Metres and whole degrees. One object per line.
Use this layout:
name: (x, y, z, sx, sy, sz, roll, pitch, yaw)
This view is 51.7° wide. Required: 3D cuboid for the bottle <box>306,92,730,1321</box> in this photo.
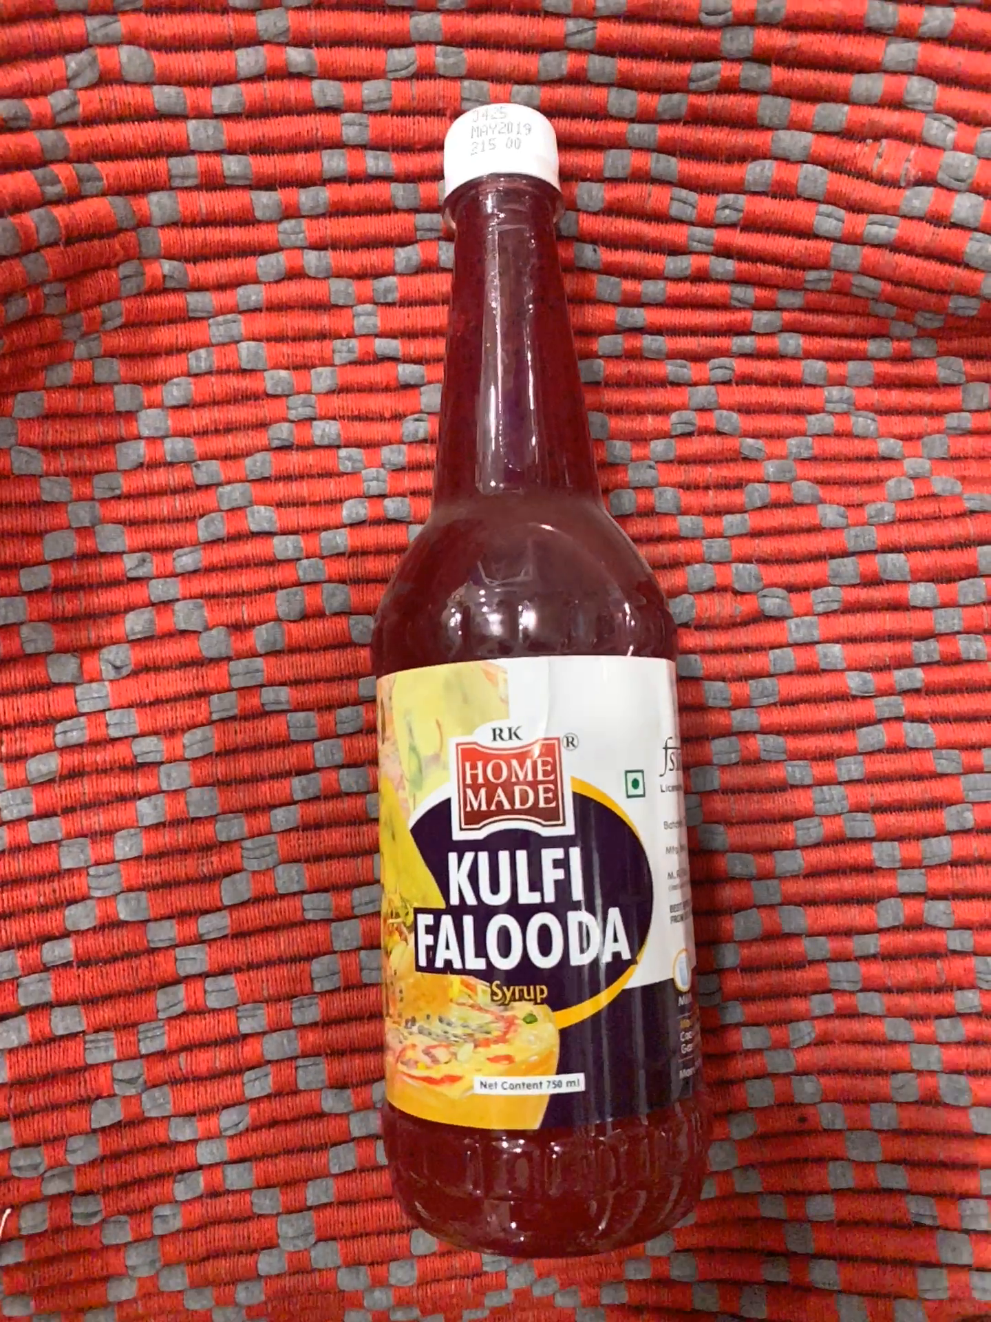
bottle: (-0.004, -0.001, 0.239, 0.070, 0.070, 0.250, -2, 76, -4)
